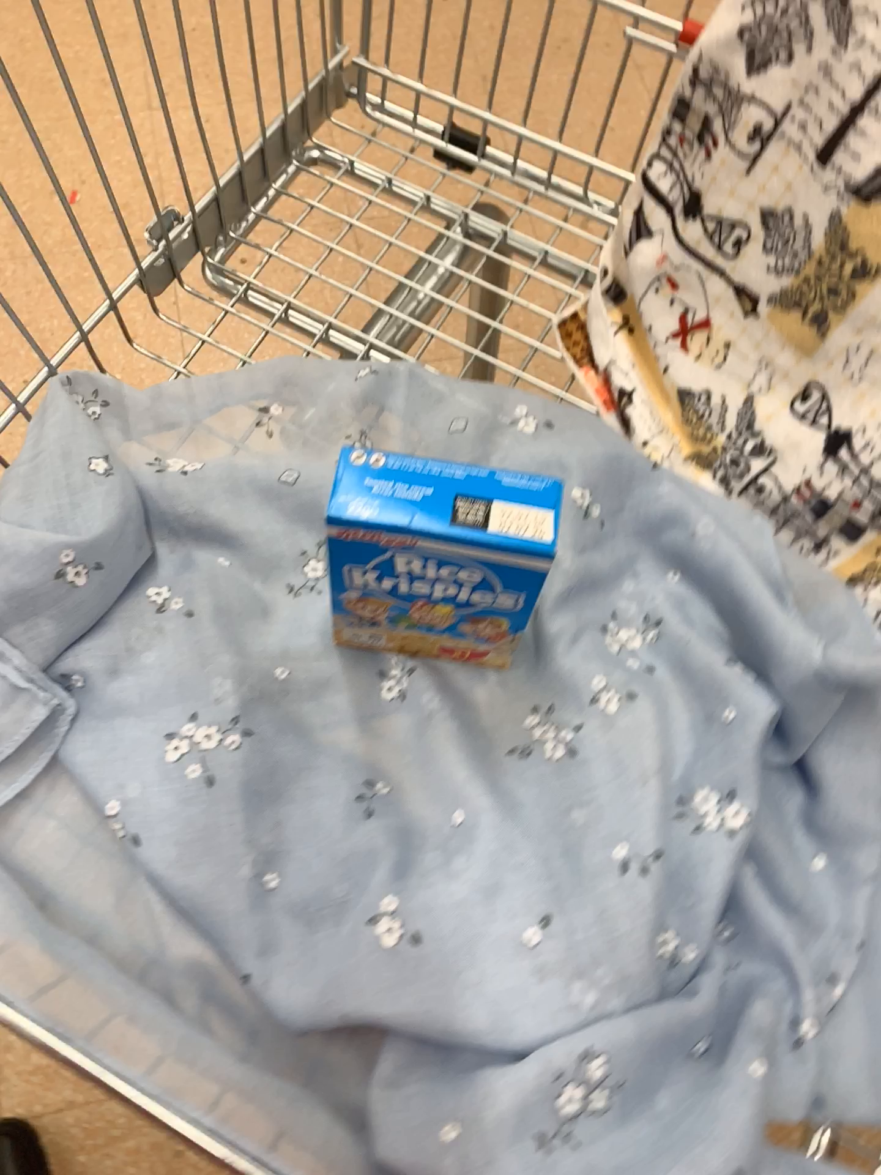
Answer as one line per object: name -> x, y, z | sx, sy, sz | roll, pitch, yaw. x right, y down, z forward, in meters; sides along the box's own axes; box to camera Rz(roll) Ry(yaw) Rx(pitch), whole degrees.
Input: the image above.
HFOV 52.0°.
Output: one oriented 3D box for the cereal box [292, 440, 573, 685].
cereal box -> -0.006, -0.003, 0.397 | 0.100, 0.139, 0.040 | 7, 66, -1
